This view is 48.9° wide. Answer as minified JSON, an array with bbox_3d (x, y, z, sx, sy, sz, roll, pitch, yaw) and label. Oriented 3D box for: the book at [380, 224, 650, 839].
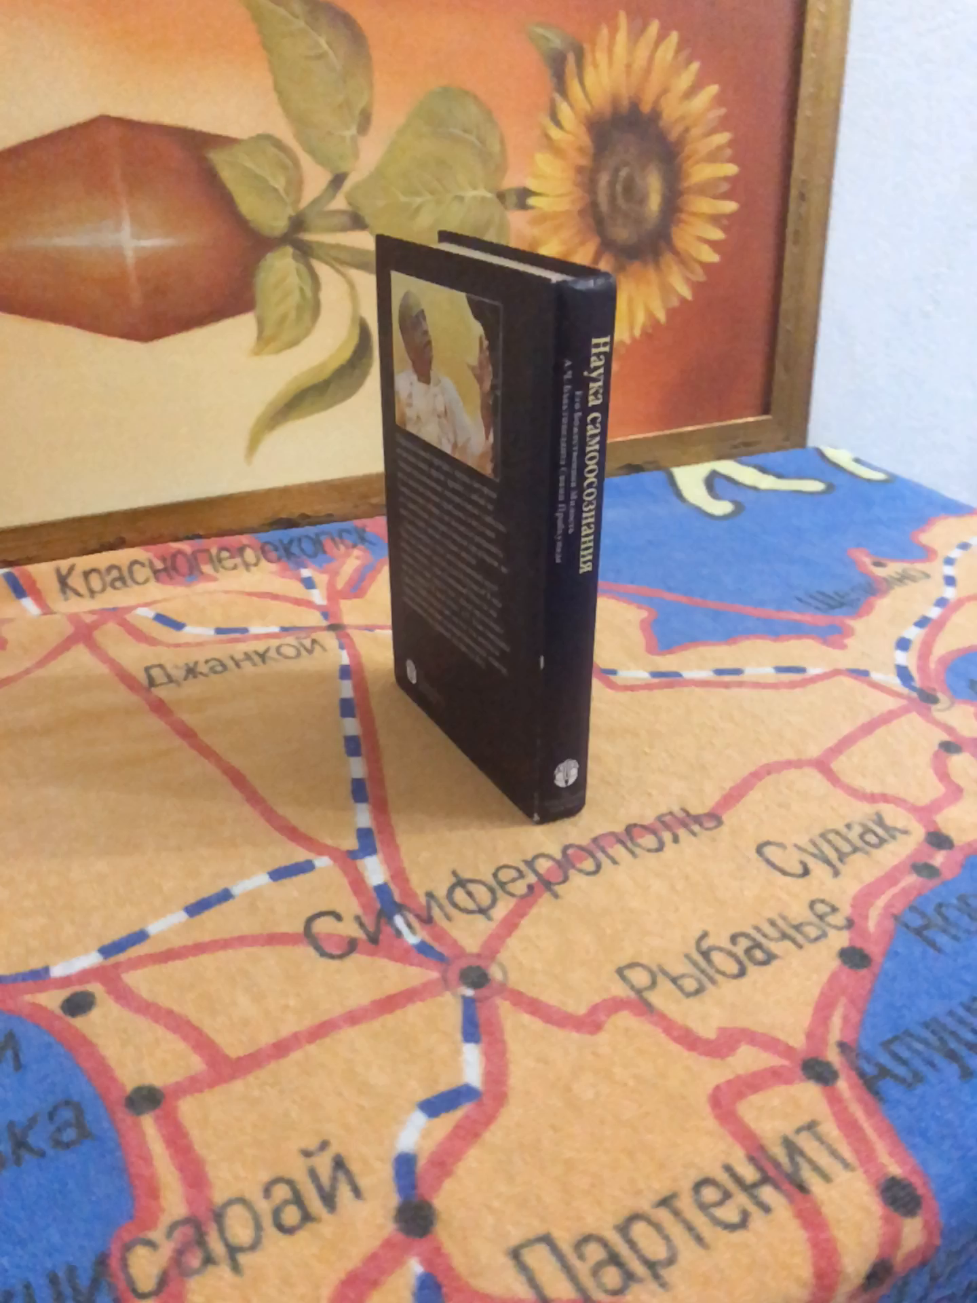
[{"bbox_3d":[0.001,-0.052,0.428,0.030,0.206,0.141,-13,30,-26],"label":"book"}]
